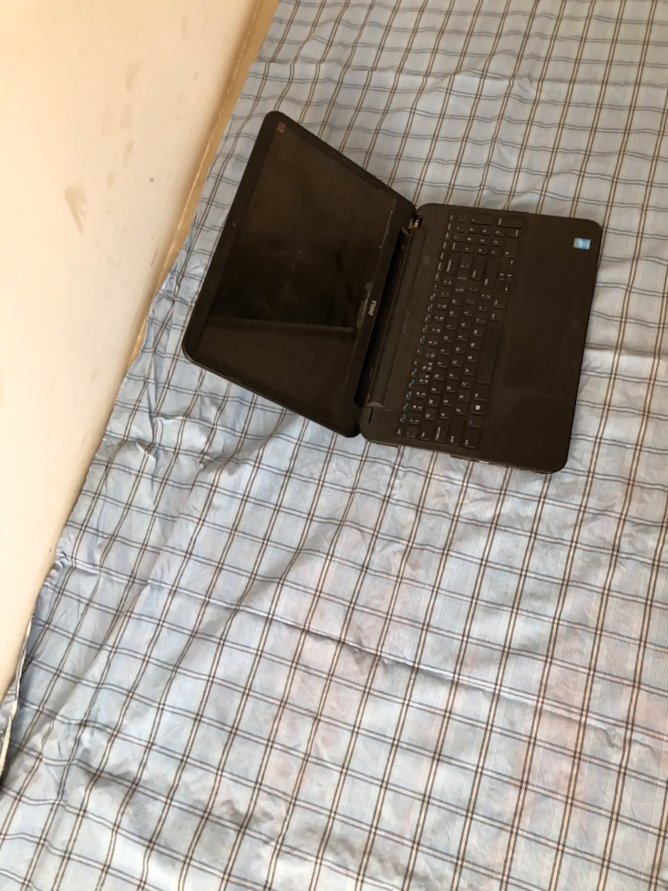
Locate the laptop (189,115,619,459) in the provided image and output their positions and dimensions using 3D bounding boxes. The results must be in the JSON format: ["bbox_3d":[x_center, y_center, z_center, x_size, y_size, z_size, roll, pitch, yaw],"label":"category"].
[{"bbox_3d":[0.095,-0.205,0.896,0.413,0.164,0.356,9,68,17],"label":"laptop"}]
